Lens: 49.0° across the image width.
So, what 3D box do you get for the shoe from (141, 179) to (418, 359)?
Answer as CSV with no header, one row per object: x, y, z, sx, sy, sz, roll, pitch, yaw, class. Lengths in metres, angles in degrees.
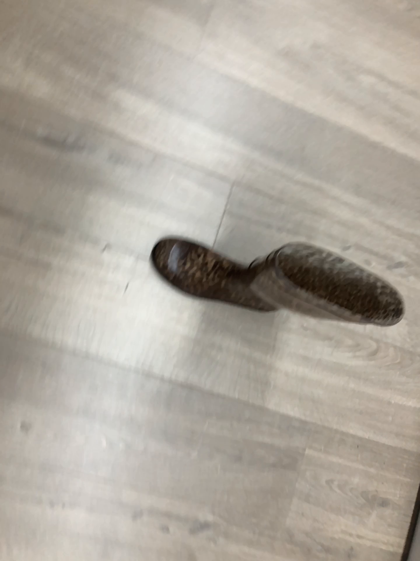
0.061,-0.001,0.670,0.280,0.340,0.090,24,82,-11,shoe
